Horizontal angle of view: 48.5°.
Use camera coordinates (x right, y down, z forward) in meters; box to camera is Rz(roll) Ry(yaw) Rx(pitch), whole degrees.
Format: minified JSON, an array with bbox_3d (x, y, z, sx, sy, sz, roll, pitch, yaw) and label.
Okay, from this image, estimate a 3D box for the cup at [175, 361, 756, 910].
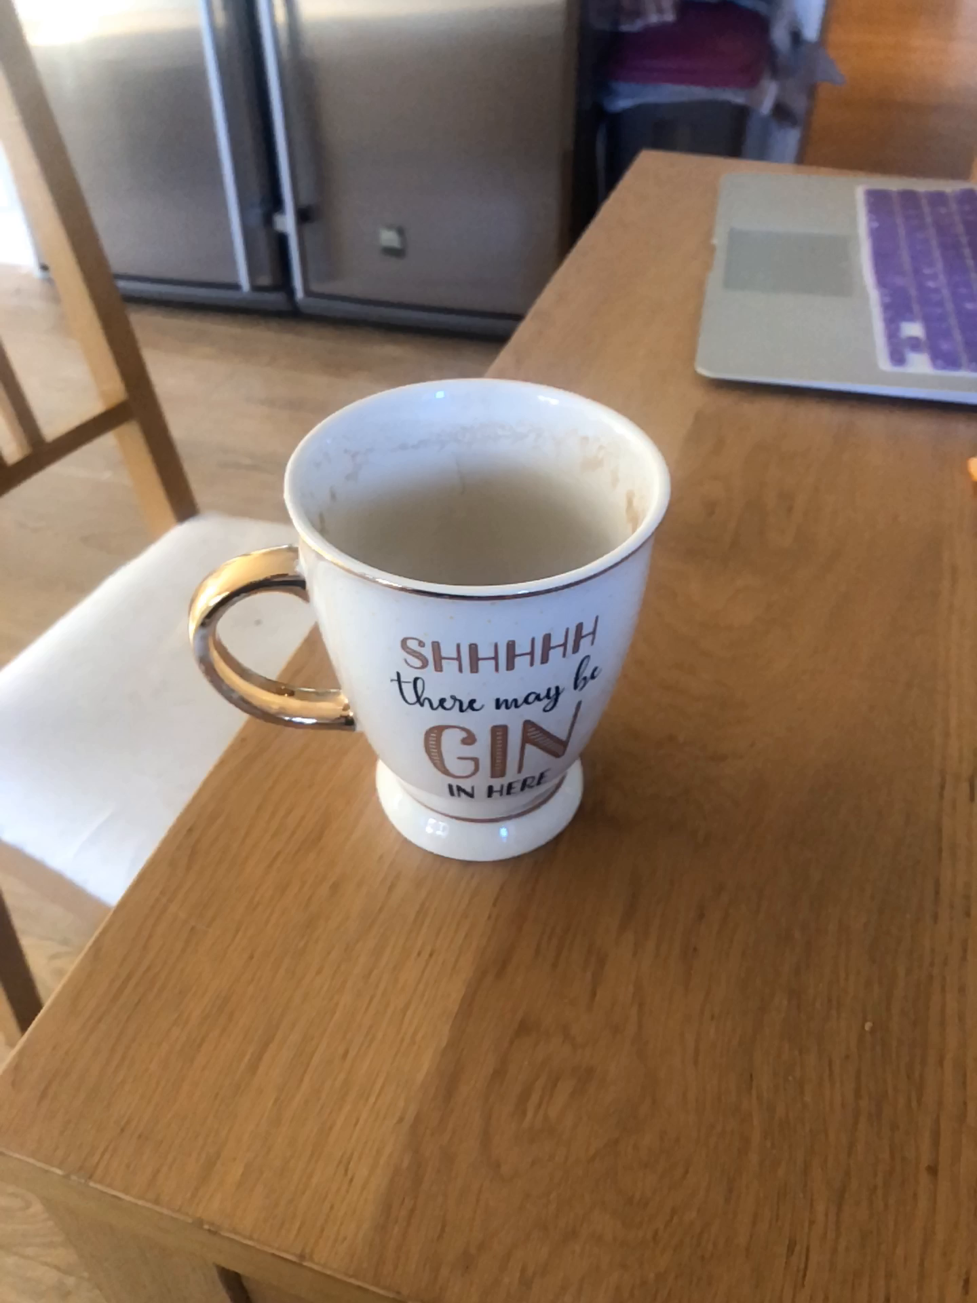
[{"bbox_3d":[-0.010,-0.007,0.327,0.134,0.111,0.109,-5,42,-5],"label":"cup"}]
